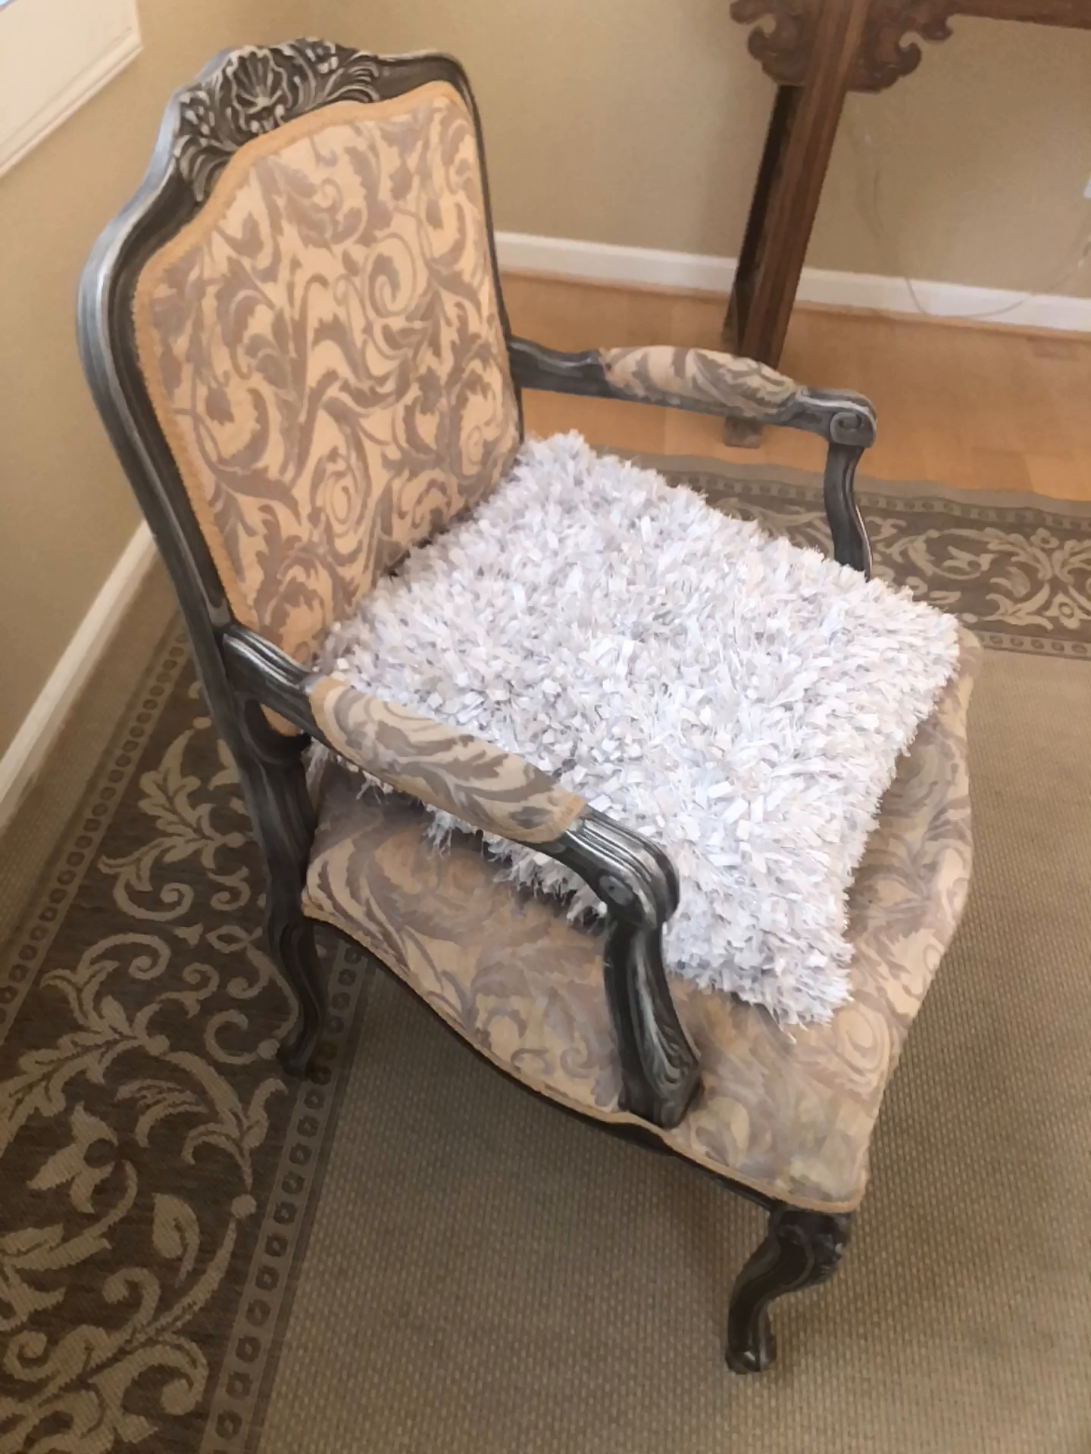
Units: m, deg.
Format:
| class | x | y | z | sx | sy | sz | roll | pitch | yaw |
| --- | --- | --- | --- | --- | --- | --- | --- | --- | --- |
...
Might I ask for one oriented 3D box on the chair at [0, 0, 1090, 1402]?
| class | x | y | z | sx | sy | sz | roll | pitch | yaw |
| --- | --- | --- | --- | --- | --- | --- | --- | --- | --- |
| chair | 0.090 | -0.071 | 1.095 | 0.650 | 0.971 | 0.767 | 19 | 46 | 14 |
